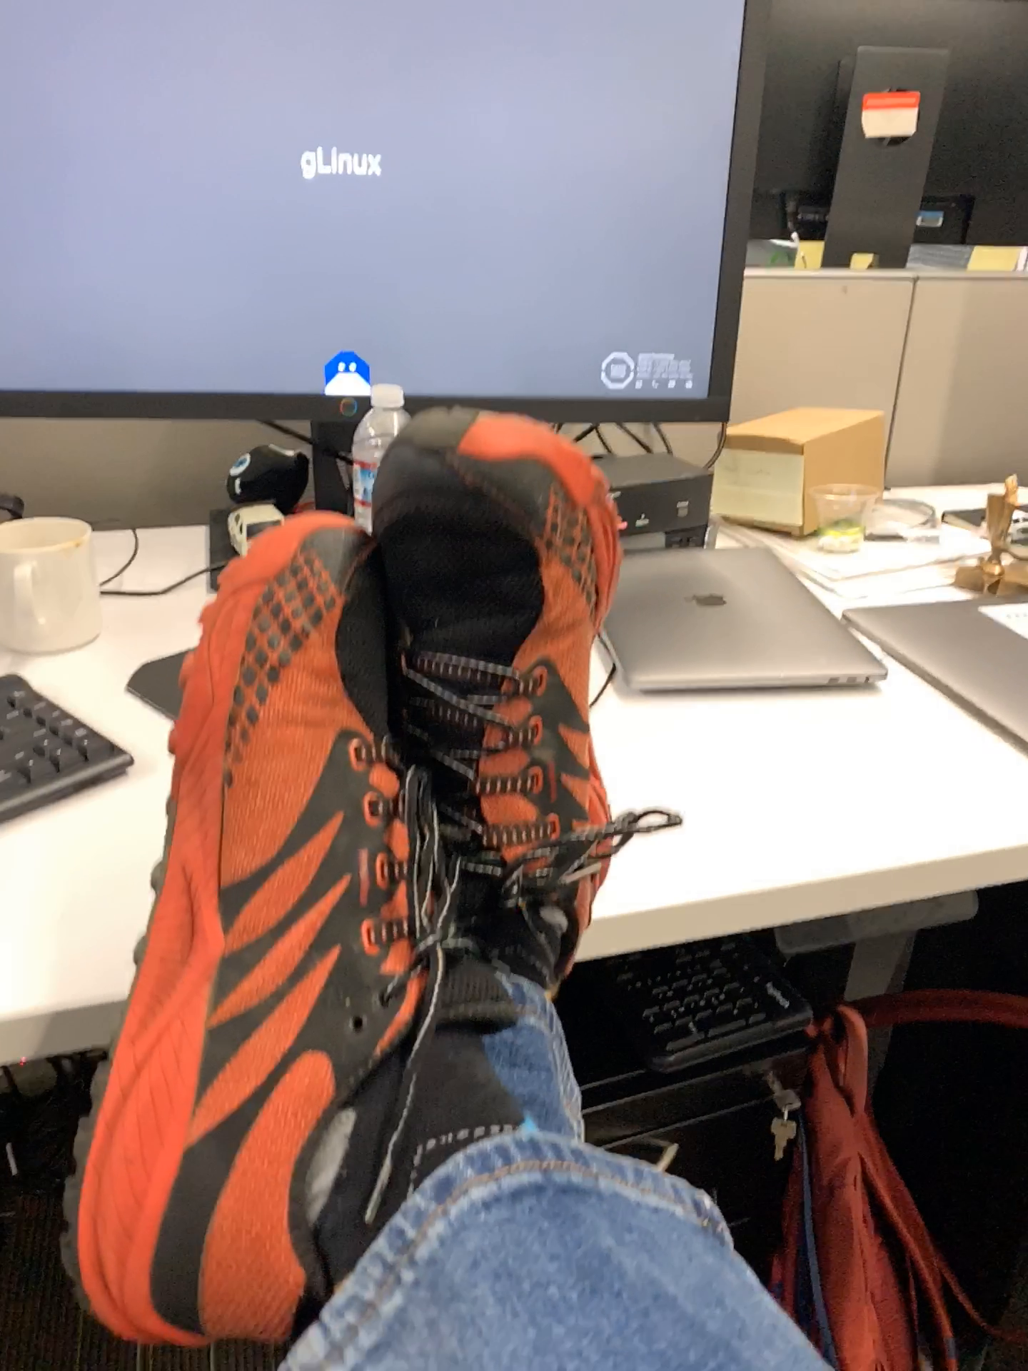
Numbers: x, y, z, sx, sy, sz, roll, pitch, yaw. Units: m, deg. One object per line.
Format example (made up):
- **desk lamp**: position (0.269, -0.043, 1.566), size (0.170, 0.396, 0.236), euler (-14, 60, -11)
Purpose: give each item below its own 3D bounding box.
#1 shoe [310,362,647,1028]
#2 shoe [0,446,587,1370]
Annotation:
- **shoe**: position (-0.005, 0.009, 0.456), size (0.107, 0.271, 0.083), euler (5, 28, 14)
- **shoe**: position (-0.073, 0.075, 0.368), size (0.132, 0.289, 0.091), euler (8, -9, 17)
